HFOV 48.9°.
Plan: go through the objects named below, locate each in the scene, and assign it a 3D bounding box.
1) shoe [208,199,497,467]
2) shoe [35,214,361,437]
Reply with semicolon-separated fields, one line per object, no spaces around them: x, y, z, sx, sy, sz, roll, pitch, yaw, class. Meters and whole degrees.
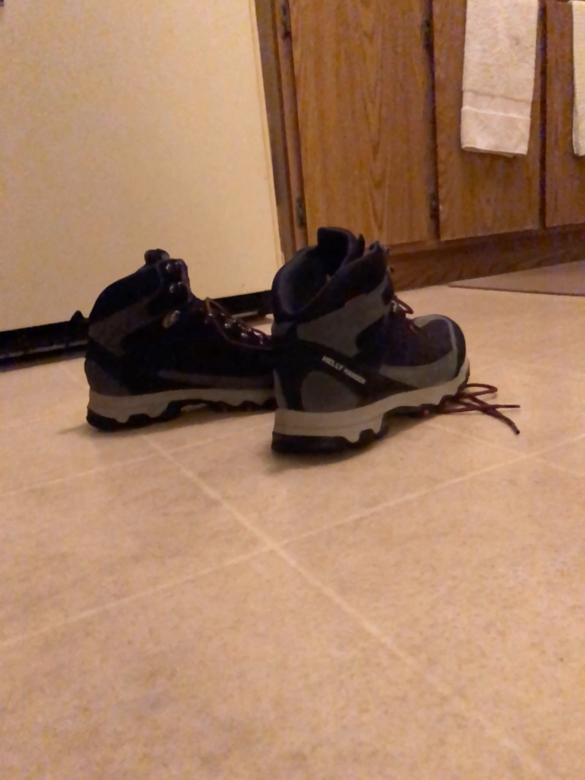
0.080;-0.076;0.640;0.116;0.195;0.300;7;19;42;shoe
-0.095;-0.080;0.722;0.309;0.195;0.126;-7;14;-5;shoe
